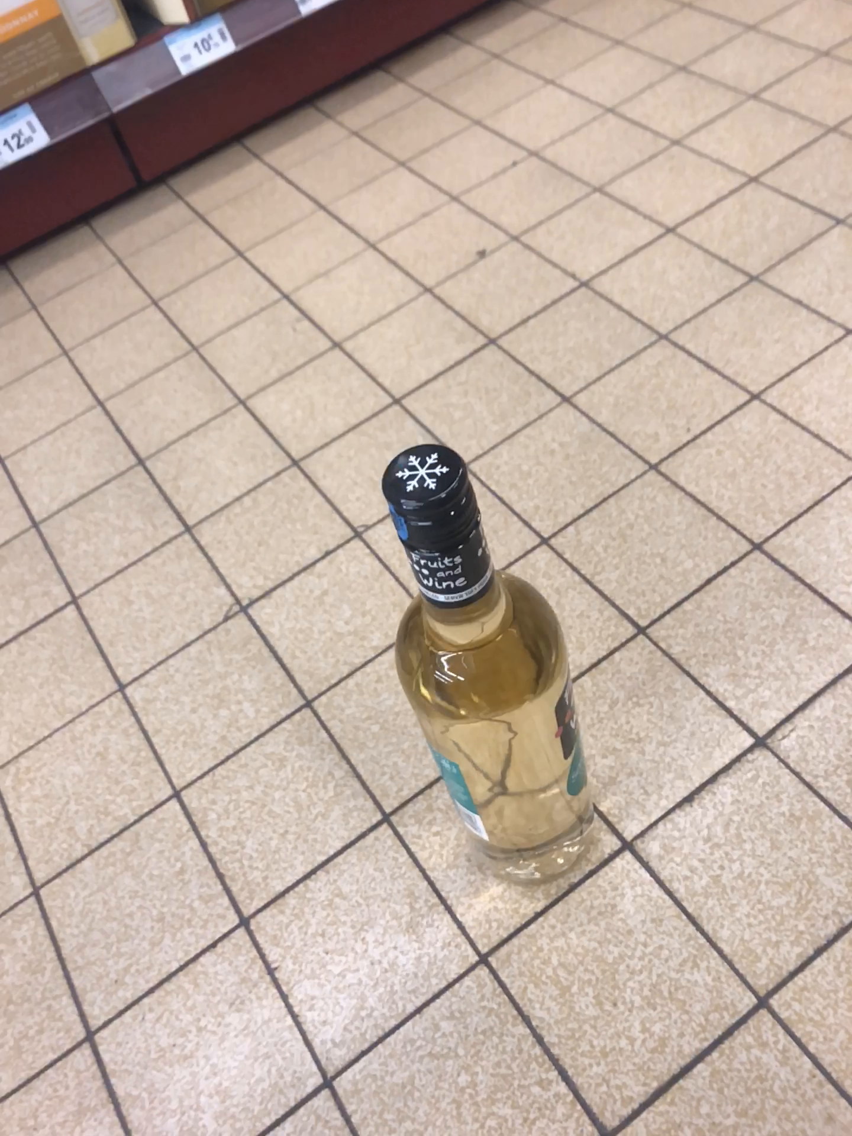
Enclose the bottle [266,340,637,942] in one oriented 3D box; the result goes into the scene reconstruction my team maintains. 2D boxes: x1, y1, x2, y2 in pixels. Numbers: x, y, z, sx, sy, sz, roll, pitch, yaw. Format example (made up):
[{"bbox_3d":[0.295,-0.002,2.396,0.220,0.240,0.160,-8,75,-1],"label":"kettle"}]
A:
[{"bbox_3d":[0.028,0.059,0.420,0.090,0.298,0.100,-19,51,-1],"label":"bottle"}]
